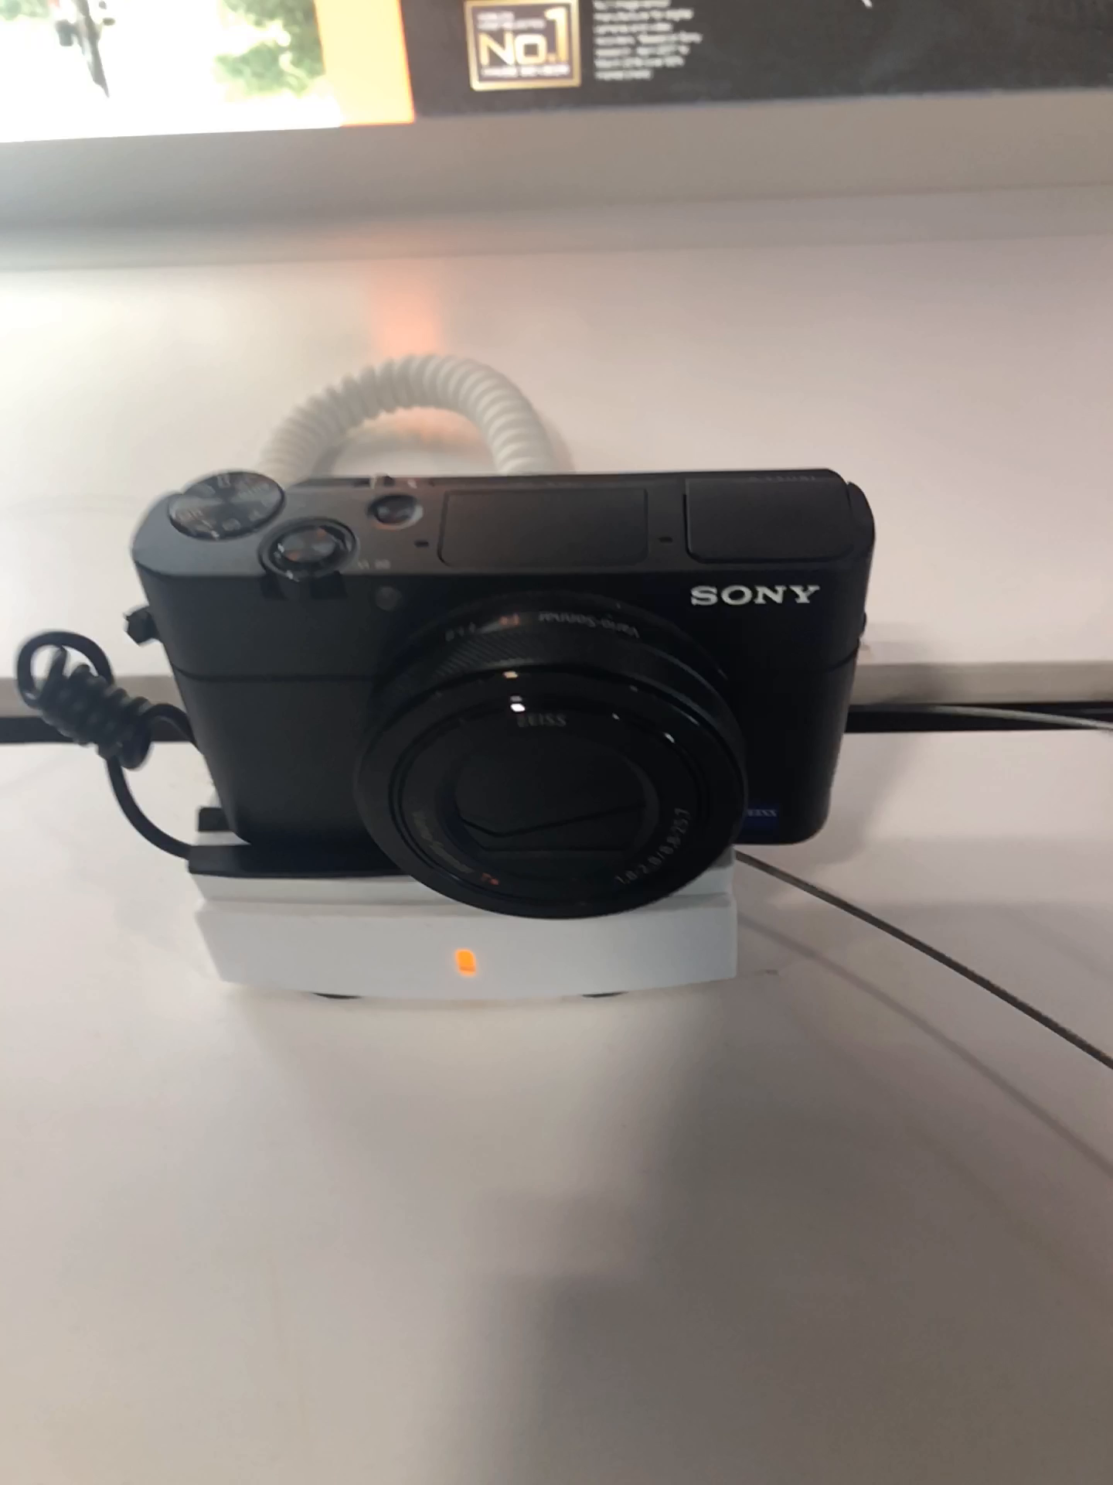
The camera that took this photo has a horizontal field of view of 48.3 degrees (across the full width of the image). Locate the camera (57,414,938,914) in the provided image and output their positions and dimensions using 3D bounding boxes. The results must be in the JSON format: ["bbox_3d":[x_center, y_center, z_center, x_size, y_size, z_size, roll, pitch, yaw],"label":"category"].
[{"bbox_3d":[-0.006,-0.008,0.175,0.101,0.063,0.032,0,45,4],"label":"camera"}]
